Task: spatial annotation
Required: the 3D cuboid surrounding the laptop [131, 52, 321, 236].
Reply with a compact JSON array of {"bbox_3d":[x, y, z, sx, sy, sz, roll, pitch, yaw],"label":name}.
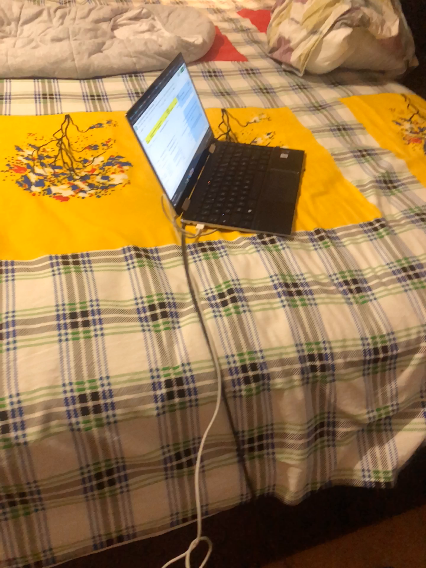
[{"bbox_3d":[0.032,-0.252,0.798,0.253,0.158,0.276,11,46,9],"label":"laptop"}]
